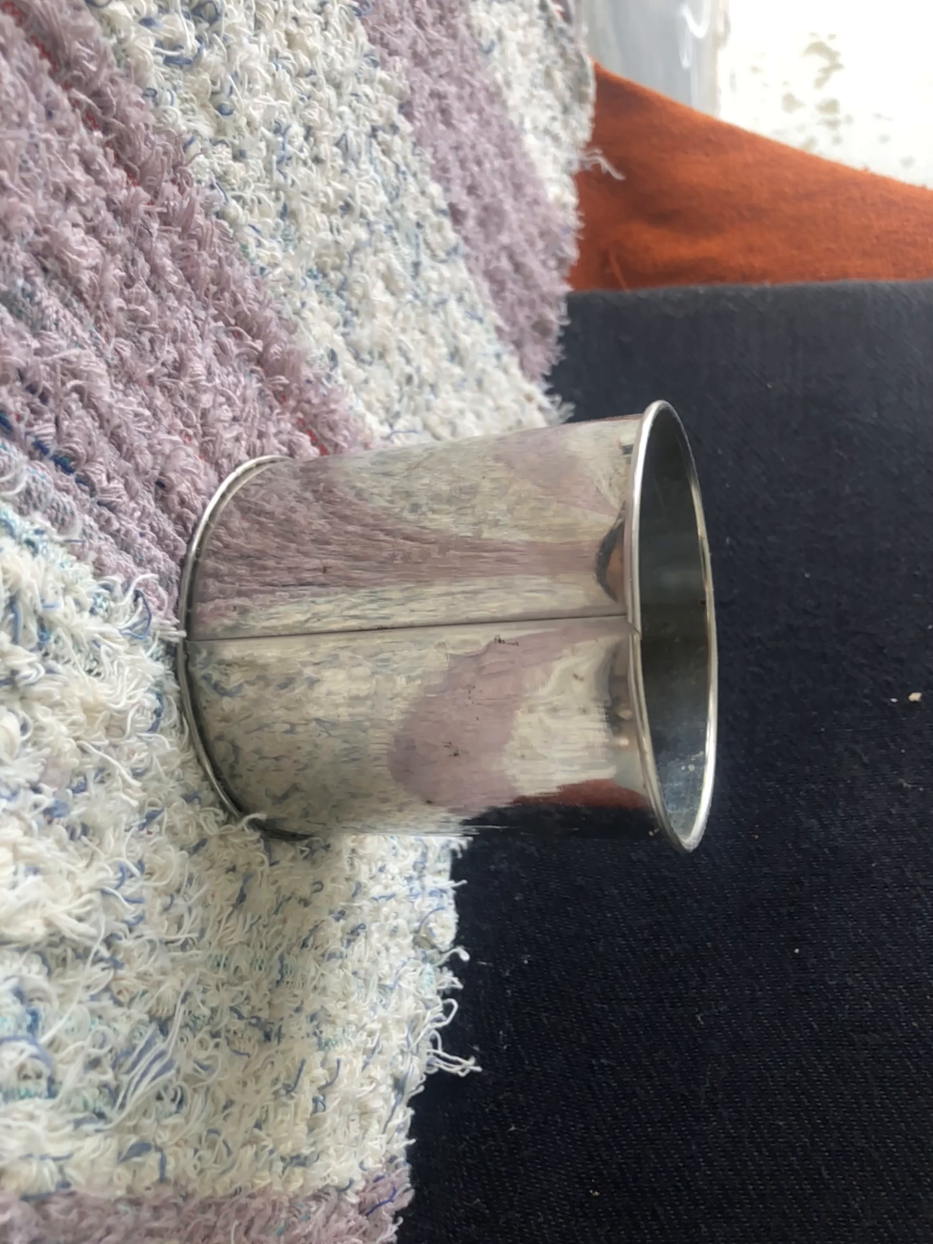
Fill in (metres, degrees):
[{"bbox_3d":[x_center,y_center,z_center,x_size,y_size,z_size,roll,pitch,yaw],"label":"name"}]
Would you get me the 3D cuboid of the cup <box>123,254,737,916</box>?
[{"bbox_3d":[0.004,-0.001,0.200,0.080,0.080,0.090,54,39,-56],"label":"cup"}]
